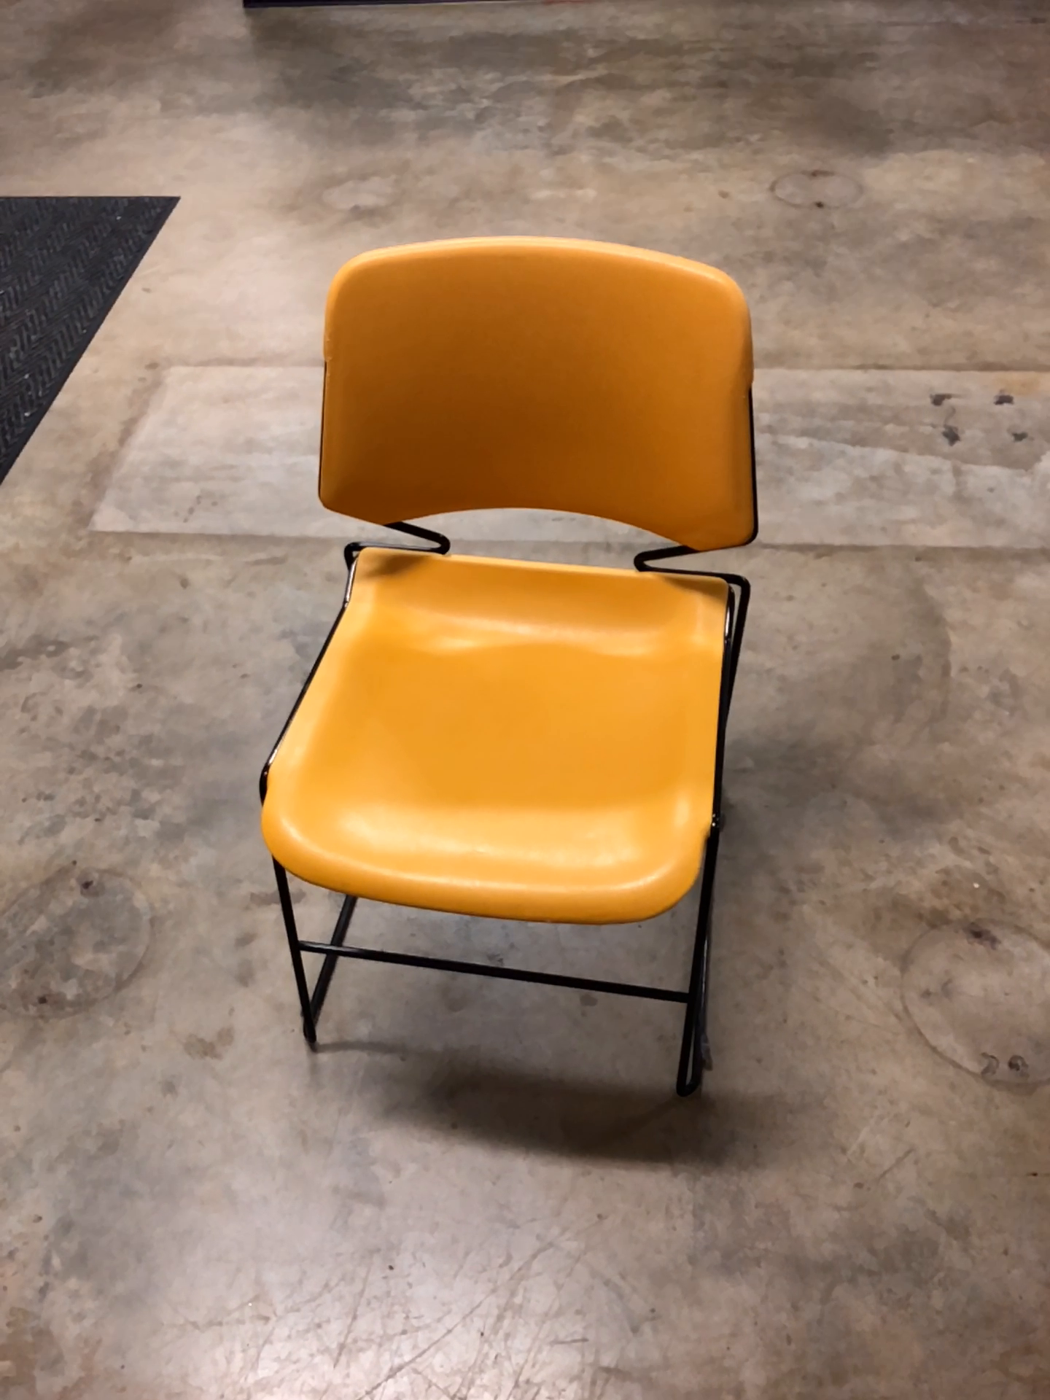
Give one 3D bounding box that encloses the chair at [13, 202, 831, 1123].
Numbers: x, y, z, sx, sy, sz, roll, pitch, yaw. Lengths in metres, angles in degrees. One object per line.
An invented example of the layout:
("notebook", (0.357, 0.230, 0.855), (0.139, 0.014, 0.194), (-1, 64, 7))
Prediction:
("chair", (-0.016, -0.034, 1.266), (0.577, 0.736, 0.618), (6, 47, 9))
